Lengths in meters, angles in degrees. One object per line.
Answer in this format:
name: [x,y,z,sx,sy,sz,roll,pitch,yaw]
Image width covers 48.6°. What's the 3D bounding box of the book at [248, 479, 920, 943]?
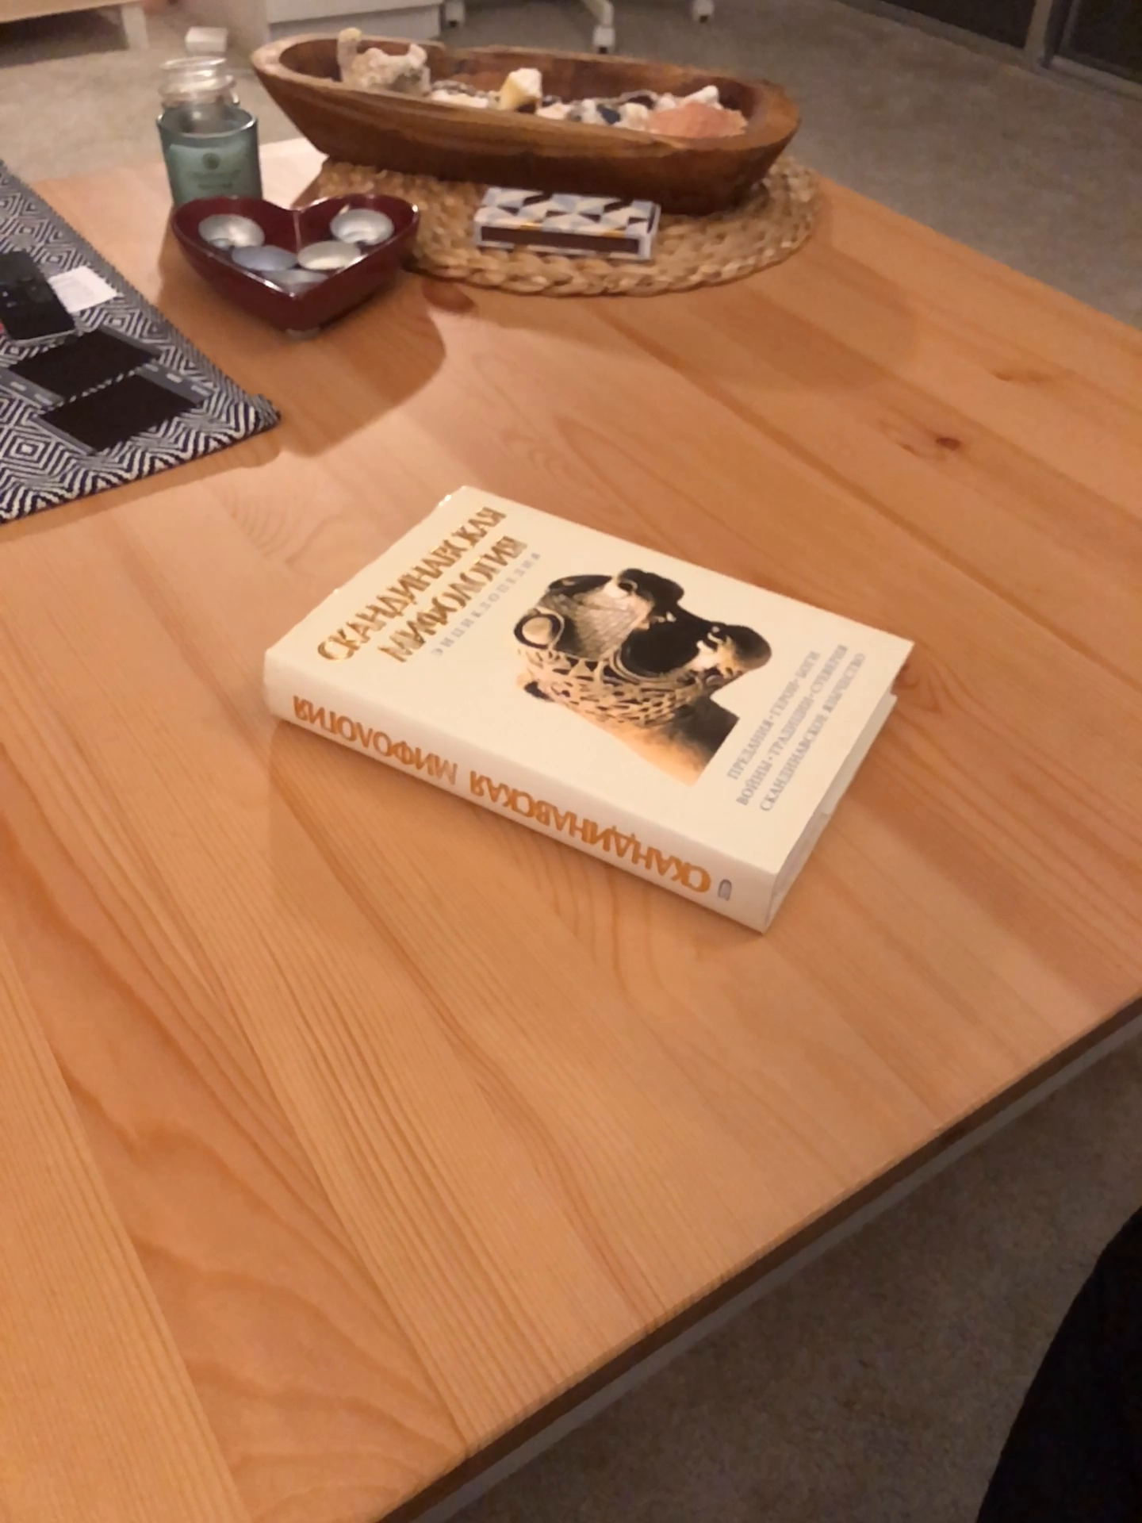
book: [0.008,-0.034,0.501,0.215,0.030,0.151,23,47,19]
